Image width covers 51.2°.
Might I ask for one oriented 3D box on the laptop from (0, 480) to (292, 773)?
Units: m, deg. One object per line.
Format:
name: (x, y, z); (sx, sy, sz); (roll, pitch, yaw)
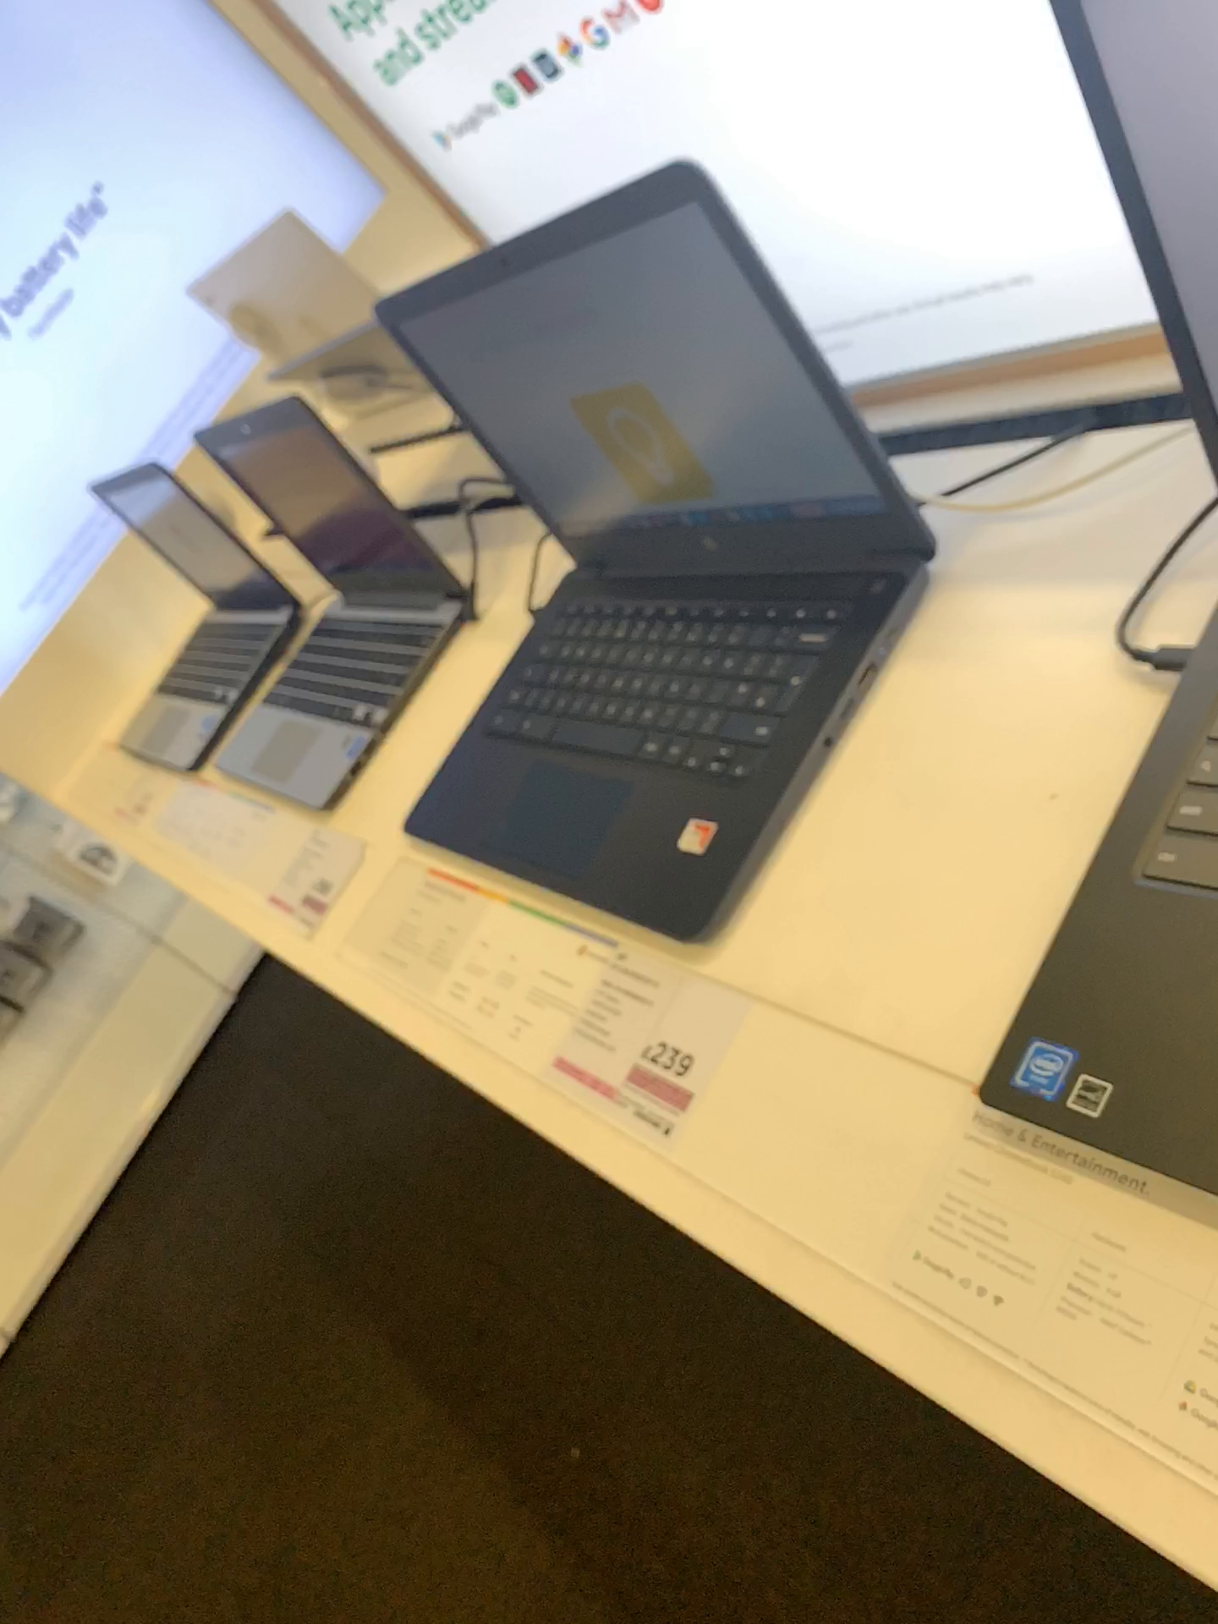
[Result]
laptop: (-0.512, -0.192, 1.335); (0.336, 0.189, 0.191); (15, 70, 57)

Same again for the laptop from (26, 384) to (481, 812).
laptop: (-0.297, -0.172, 1.041); (0.272, 0.186, 0.241); (12, 68, 55)

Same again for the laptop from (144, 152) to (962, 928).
laptop: (-0.050, -0.129, 0.681); (0.333, 0.209, 0.245); (14, 69, 57)
